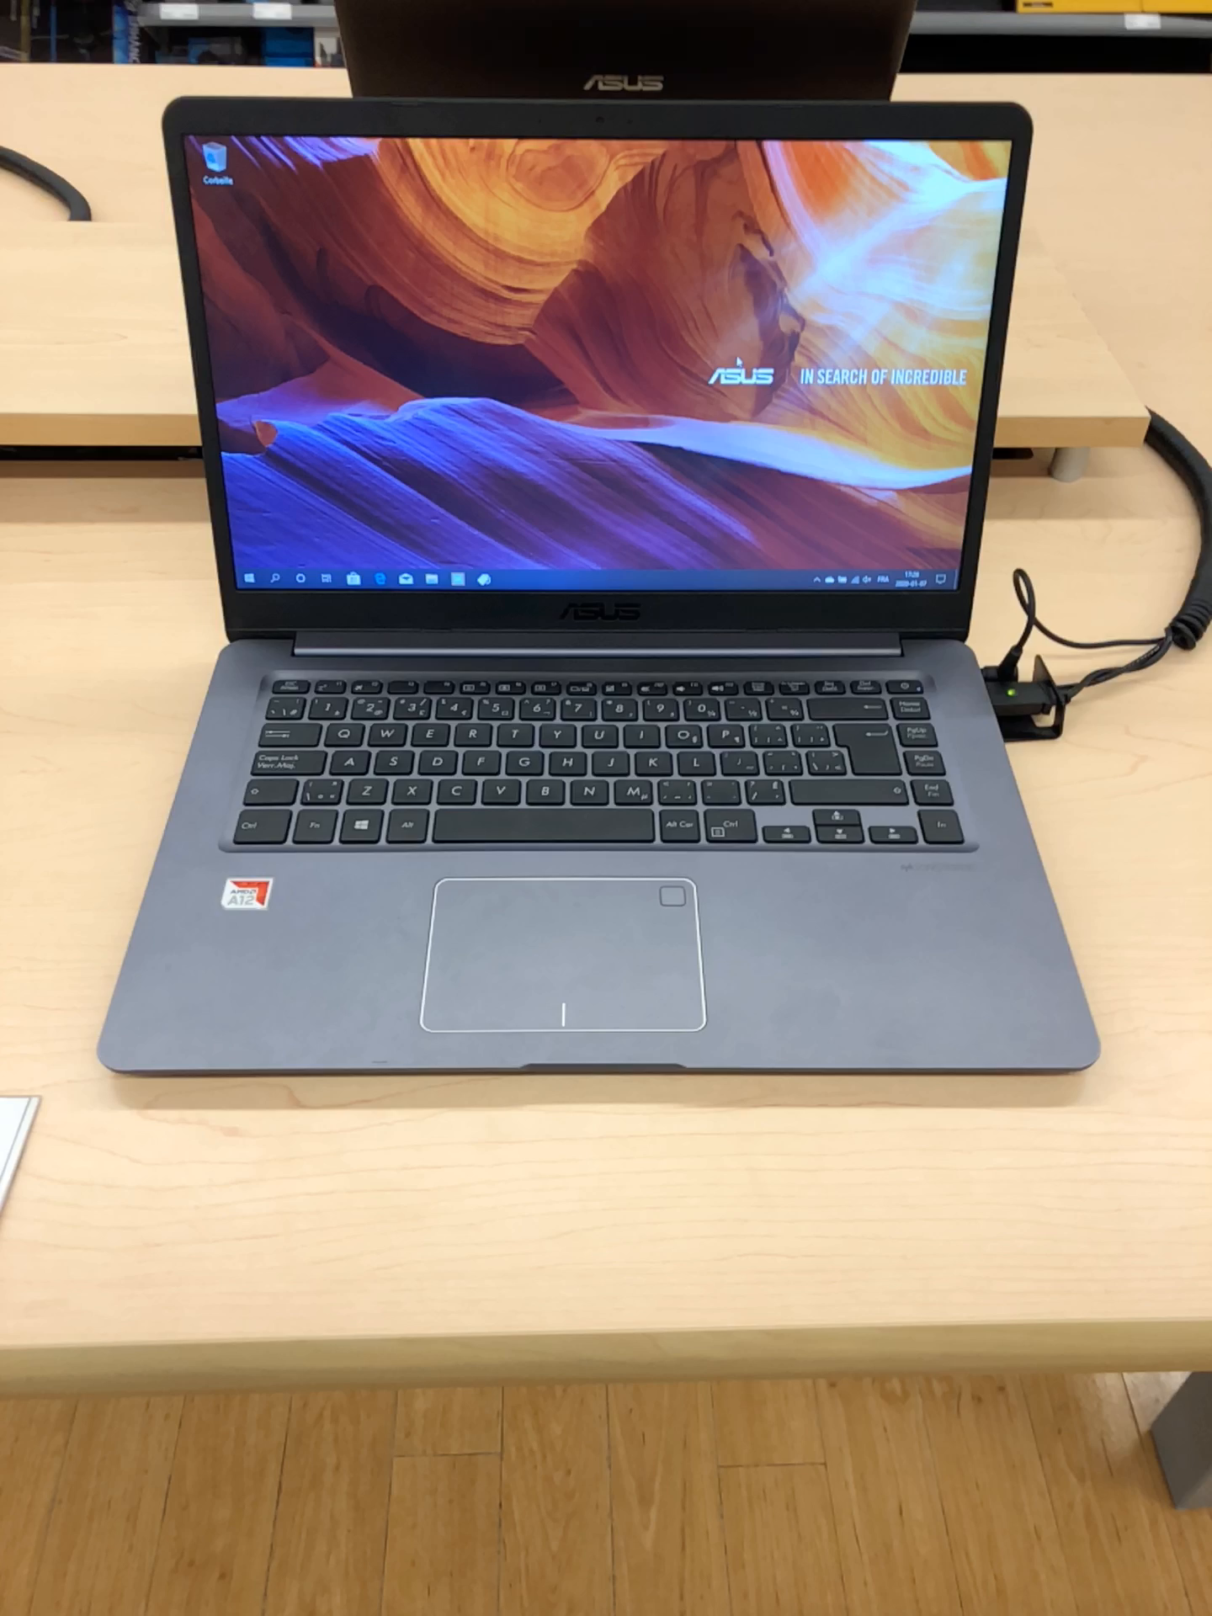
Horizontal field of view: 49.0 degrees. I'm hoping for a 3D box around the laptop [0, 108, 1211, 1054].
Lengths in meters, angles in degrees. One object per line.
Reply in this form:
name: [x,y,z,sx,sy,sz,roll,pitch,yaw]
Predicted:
laptop: [-0.003,-0.100,0.526,0.361,0.223,0.319,0,45,-1]
